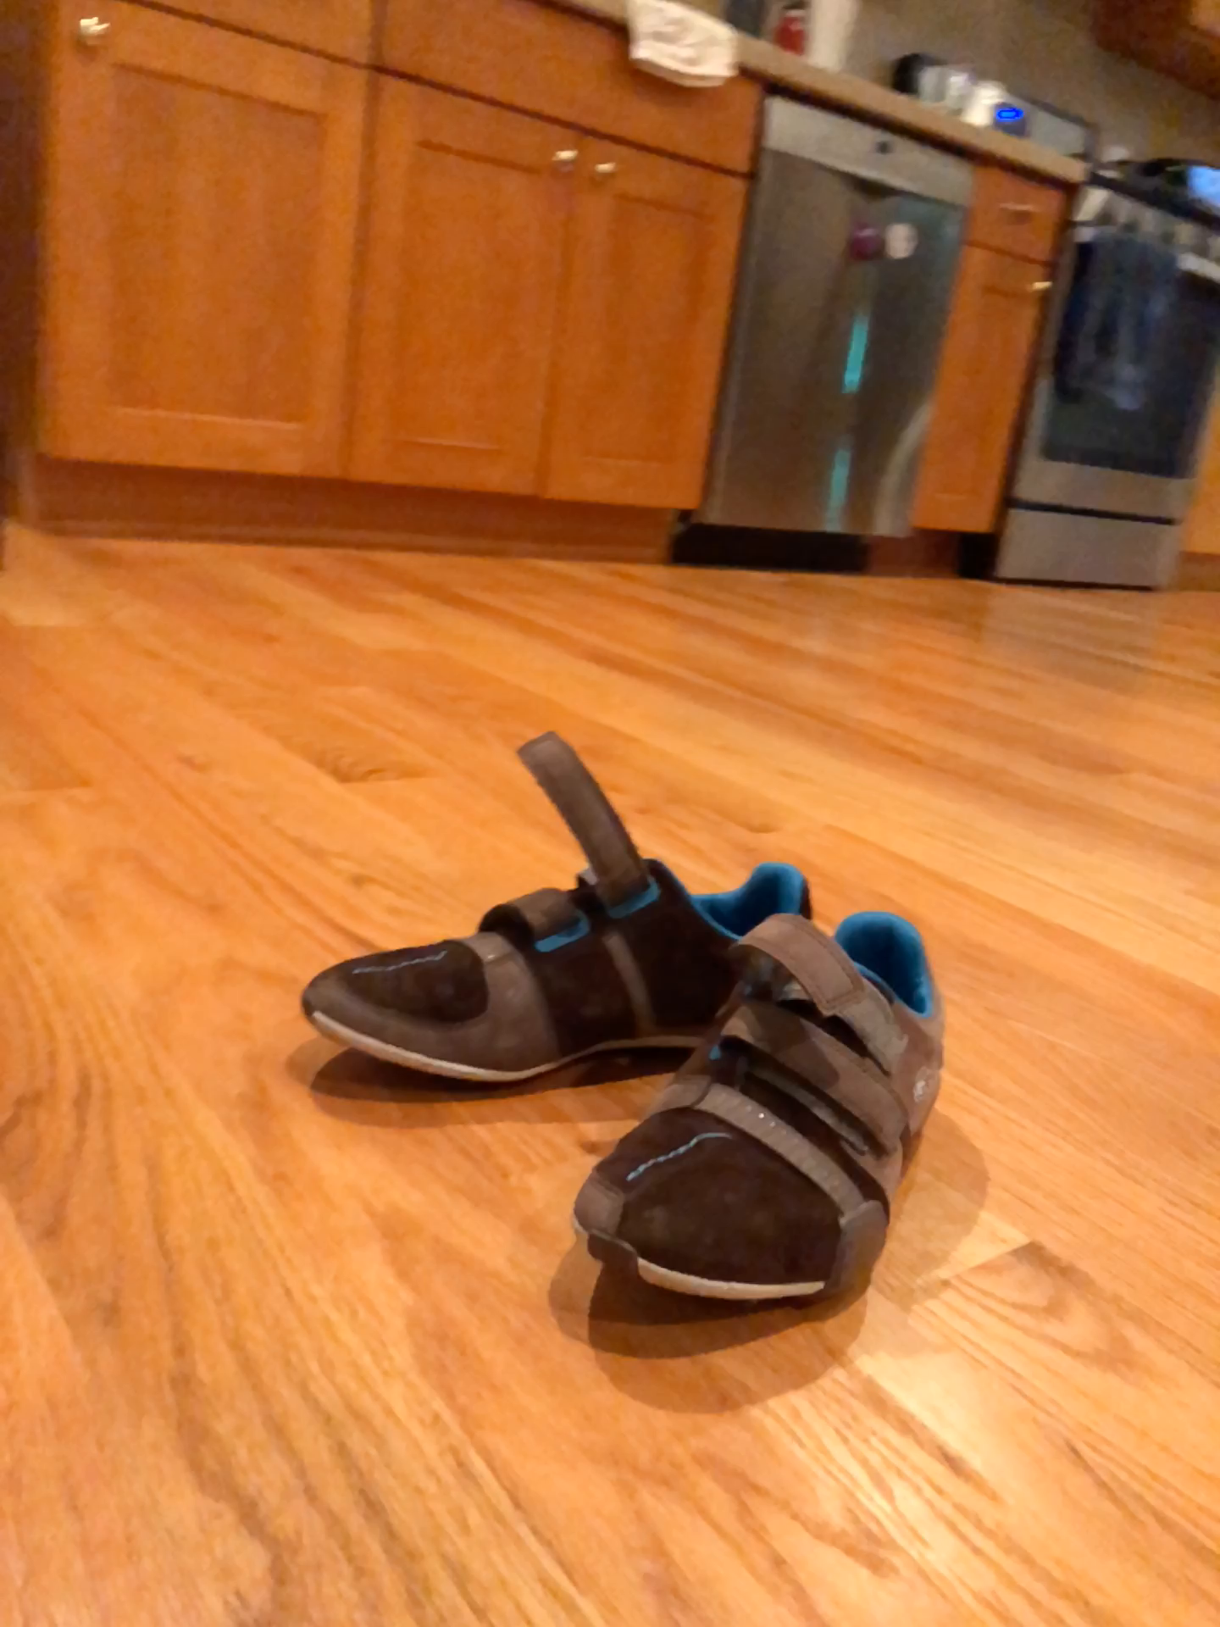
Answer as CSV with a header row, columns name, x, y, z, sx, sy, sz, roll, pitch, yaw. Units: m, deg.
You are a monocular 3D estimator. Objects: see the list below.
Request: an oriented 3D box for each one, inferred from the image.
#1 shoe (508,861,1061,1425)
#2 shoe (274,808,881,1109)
name,x,y,z,sx,sy,sz,roll,pitch,yaw
shoe,0.082,0.102,0.518,0.102,0.092,0.256,17,19,28
shoe,-0.015,0.058,0.628,0.255,0.092,0.102,-1,18,-27
